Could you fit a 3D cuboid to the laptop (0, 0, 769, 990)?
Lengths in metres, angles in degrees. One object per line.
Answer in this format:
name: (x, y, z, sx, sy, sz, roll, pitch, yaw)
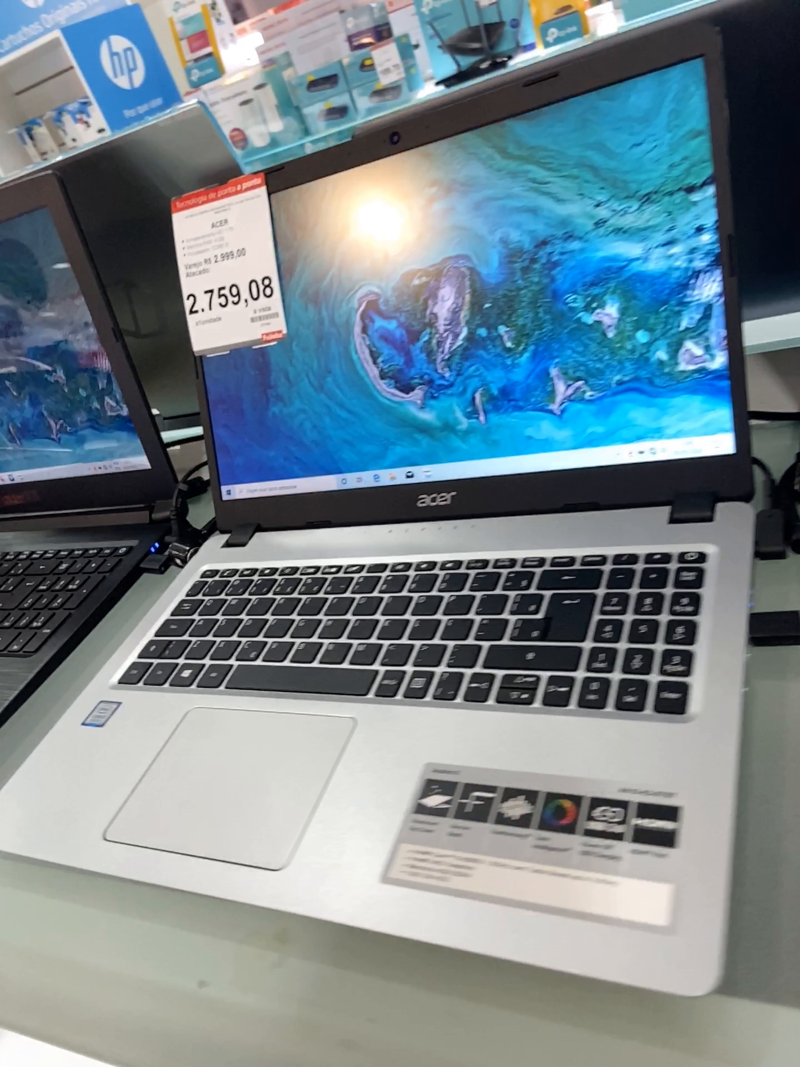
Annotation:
laptop: (-0.032, -0.051, 0.398, 0.351, 0.198, 0.363, -4, 37, 30)
